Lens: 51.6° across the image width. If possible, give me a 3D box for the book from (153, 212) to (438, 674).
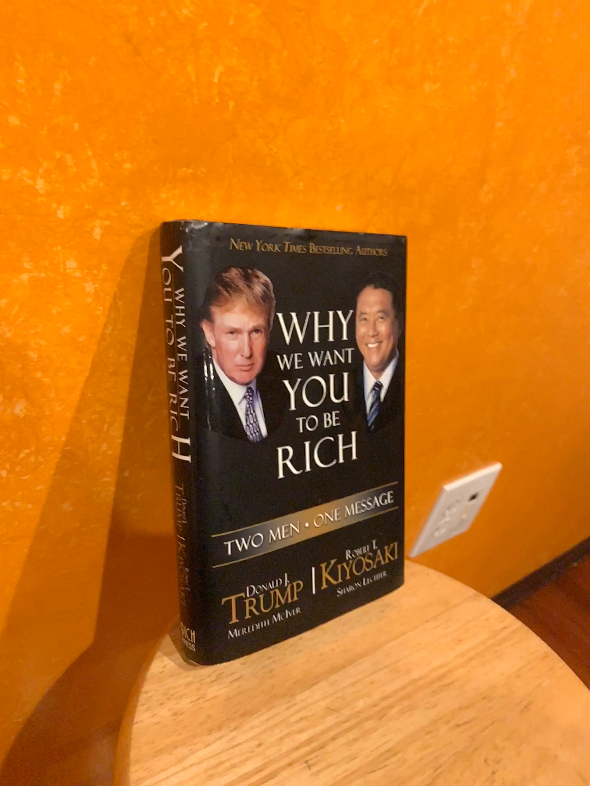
[{"bbox_3d":[0.006,0.018,0.332,0.151,0.210,0.044,-7,12,-36],"label":"book"}]
